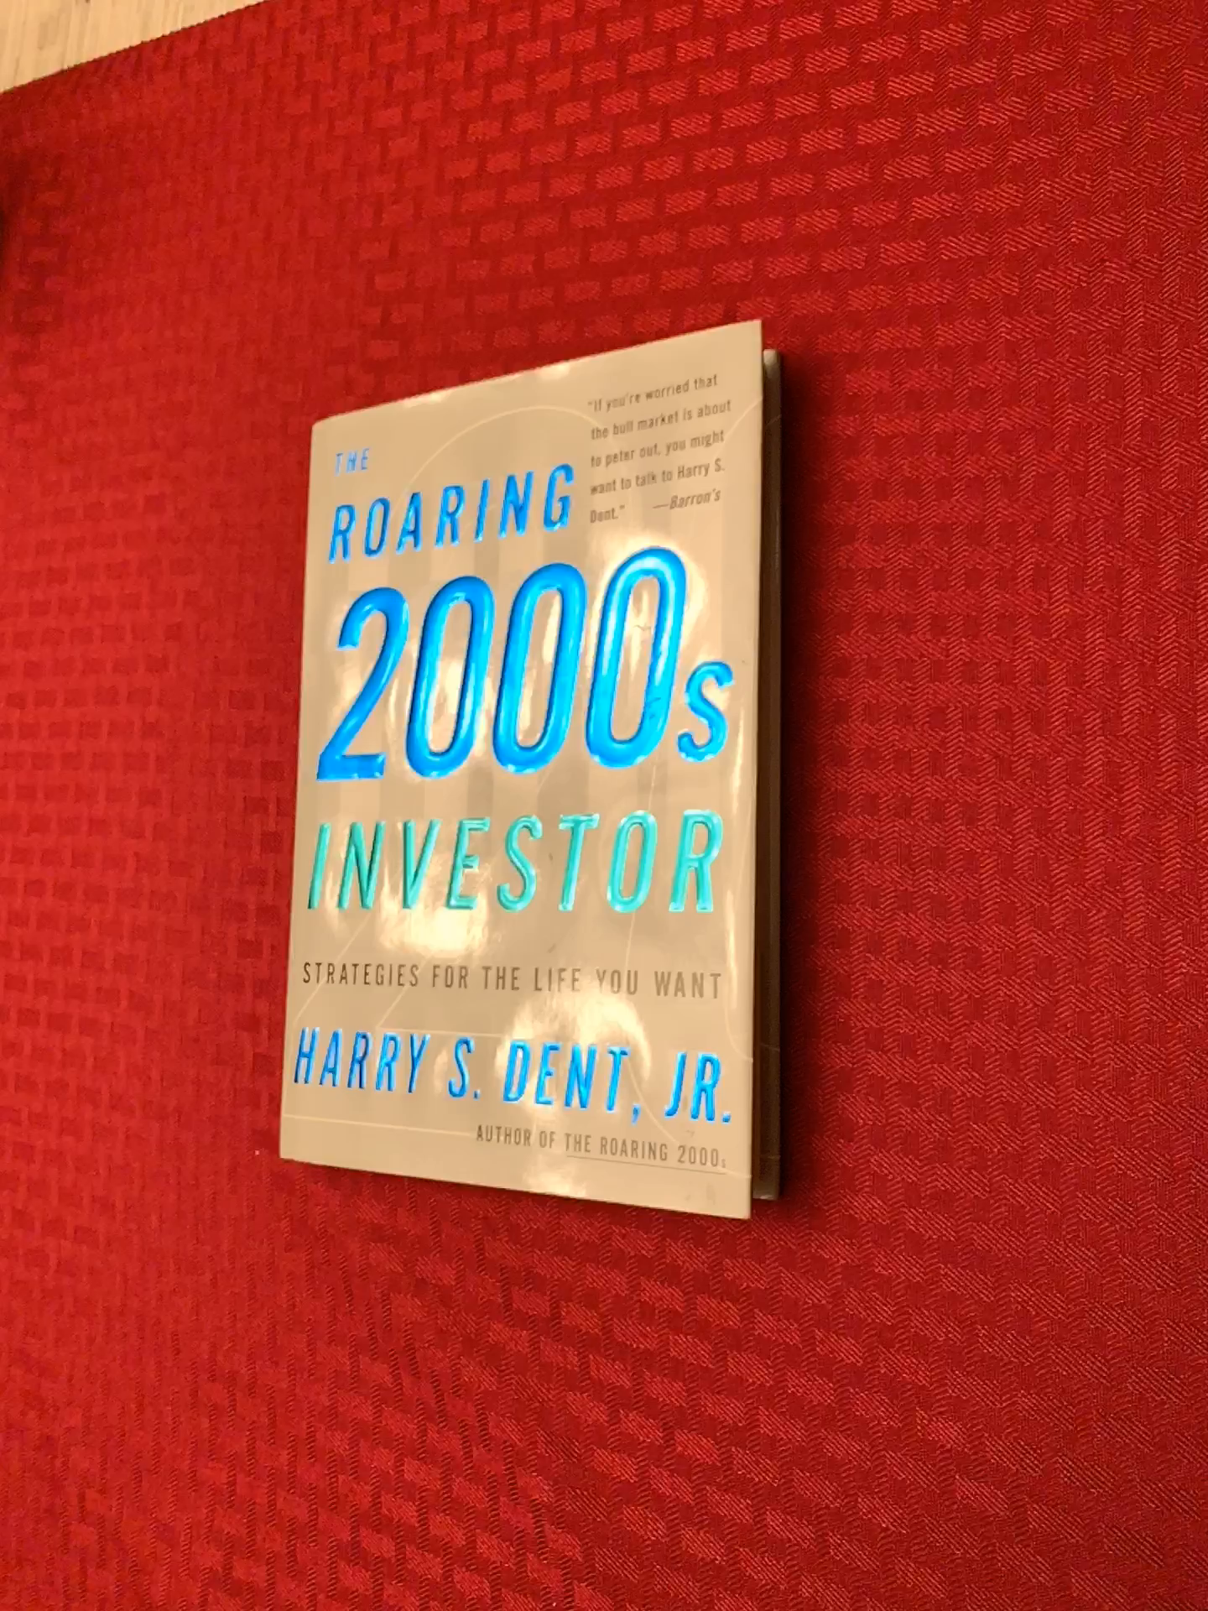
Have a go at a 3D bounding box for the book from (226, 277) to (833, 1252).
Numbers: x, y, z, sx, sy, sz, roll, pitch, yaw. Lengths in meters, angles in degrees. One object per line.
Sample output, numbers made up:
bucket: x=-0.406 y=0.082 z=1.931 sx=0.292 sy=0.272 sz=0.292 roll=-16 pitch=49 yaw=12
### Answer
book: x=-0.023 y=-0.010 z=0.361 sx=0.171 sy=0.040 sz=0.240 roll=-2 pitch=82 yaw=28
